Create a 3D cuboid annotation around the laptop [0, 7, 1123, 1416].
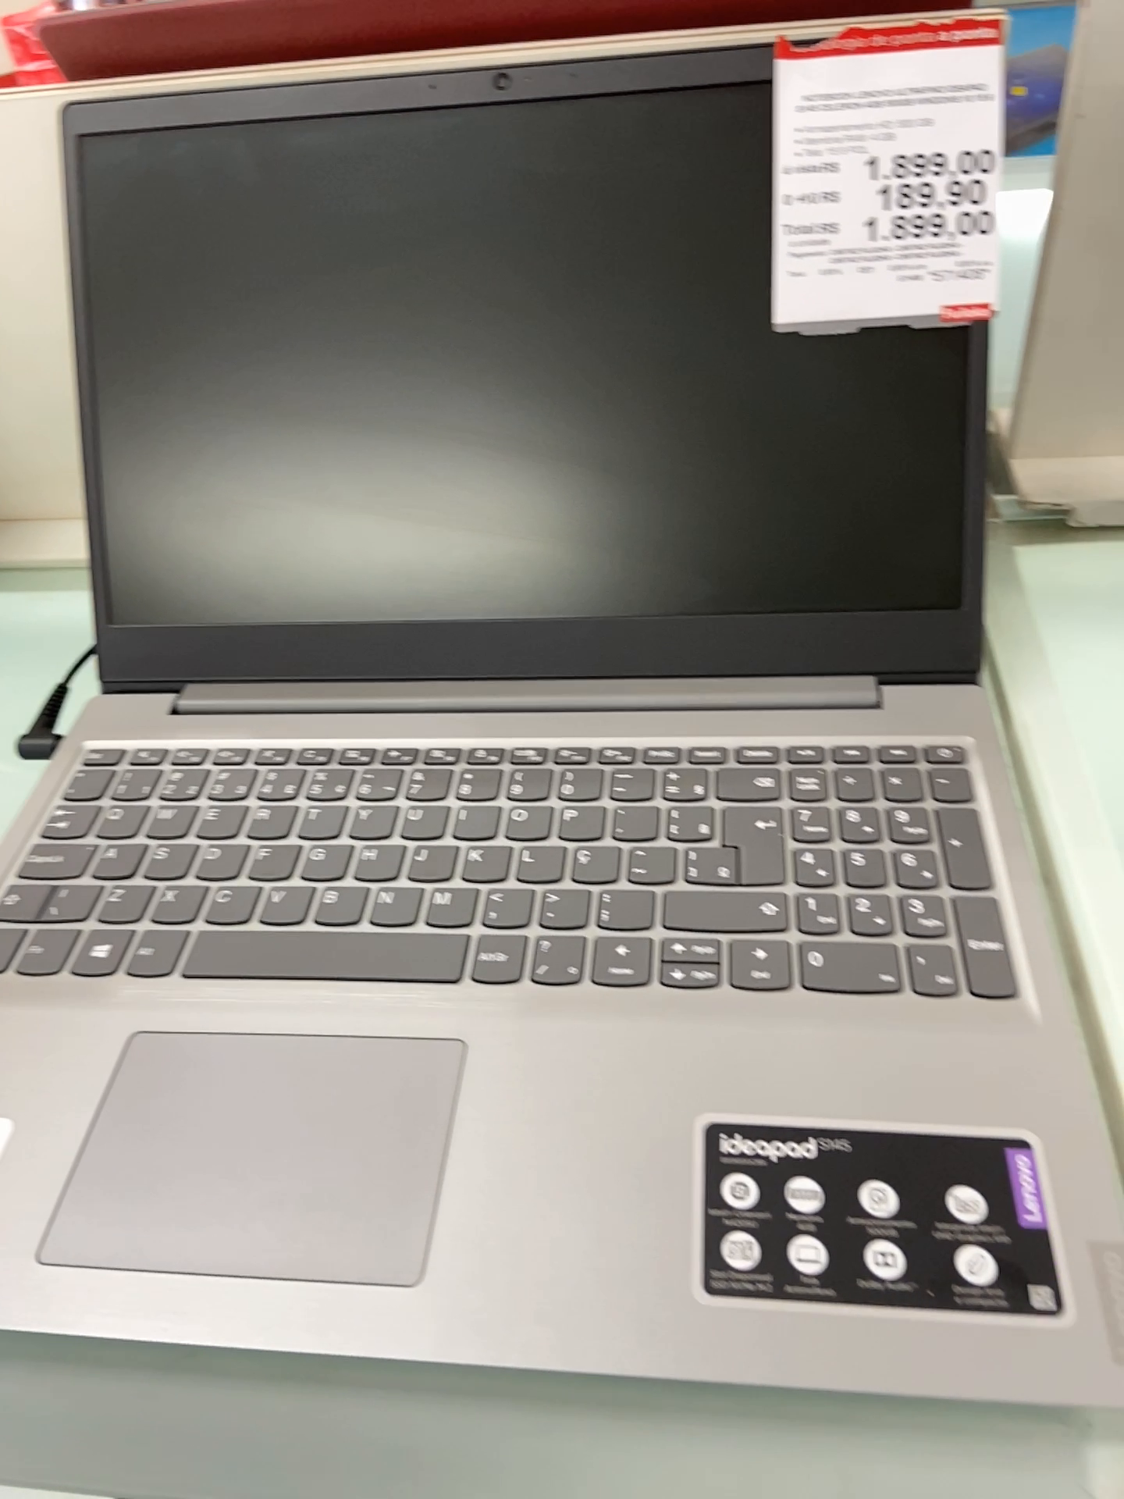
[{"bbox_3d":[-0.035,-0.059,0.366,0.366,0.189,0.404,-1,43,9],"label":"laptop"}]
